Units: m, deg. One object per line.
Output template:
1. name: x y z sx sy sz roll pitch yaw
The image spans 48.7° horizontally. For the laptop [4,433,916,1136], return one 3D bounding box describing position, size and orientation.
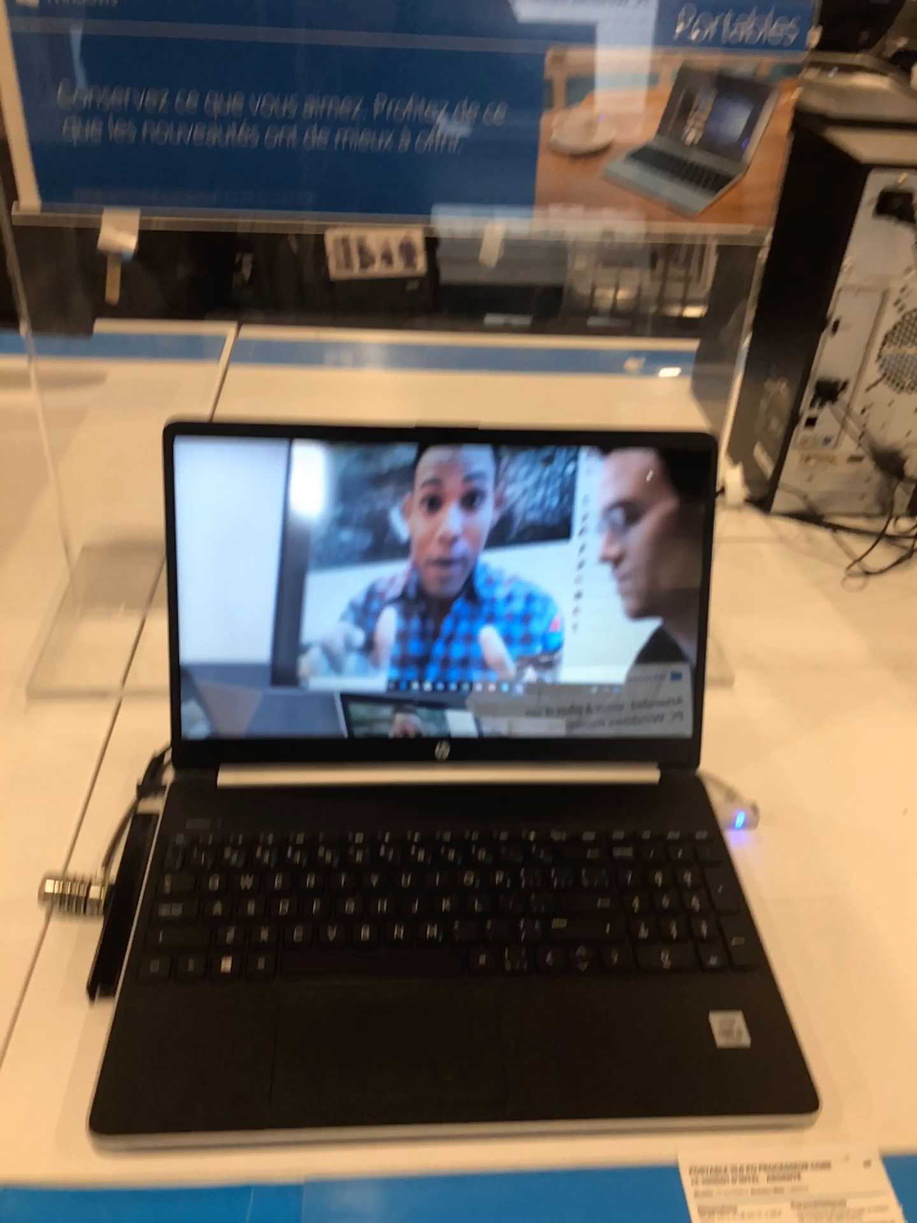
1. laptop: -0.001 0.066 0.564 0.346 0.196 0.335 0 35 -5
